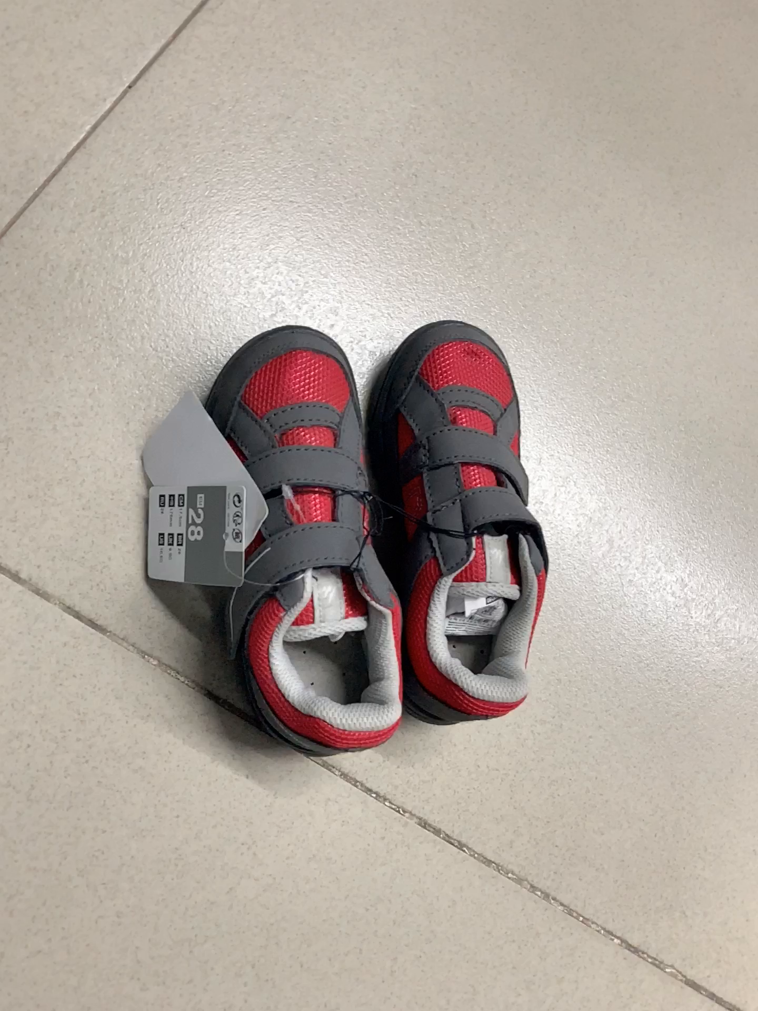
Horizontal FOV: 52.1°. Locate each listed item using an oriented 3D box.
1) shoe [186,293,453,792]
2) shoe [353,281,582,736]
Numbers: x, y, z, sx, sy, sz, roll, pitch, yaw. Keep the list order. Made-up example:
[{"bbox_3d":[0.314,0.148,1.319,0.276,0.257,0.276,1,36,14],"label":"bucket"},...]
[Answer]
[{"bbox_3d":[-0.030,0.013,0.331,0.080,0.080,0.180,-4,87,-21],"label":"shoe"},{"bbox_3d":[0.039,0.003,0.375,0.080,0.080,0.190,2,85,-21],"label":"shoe"}]
